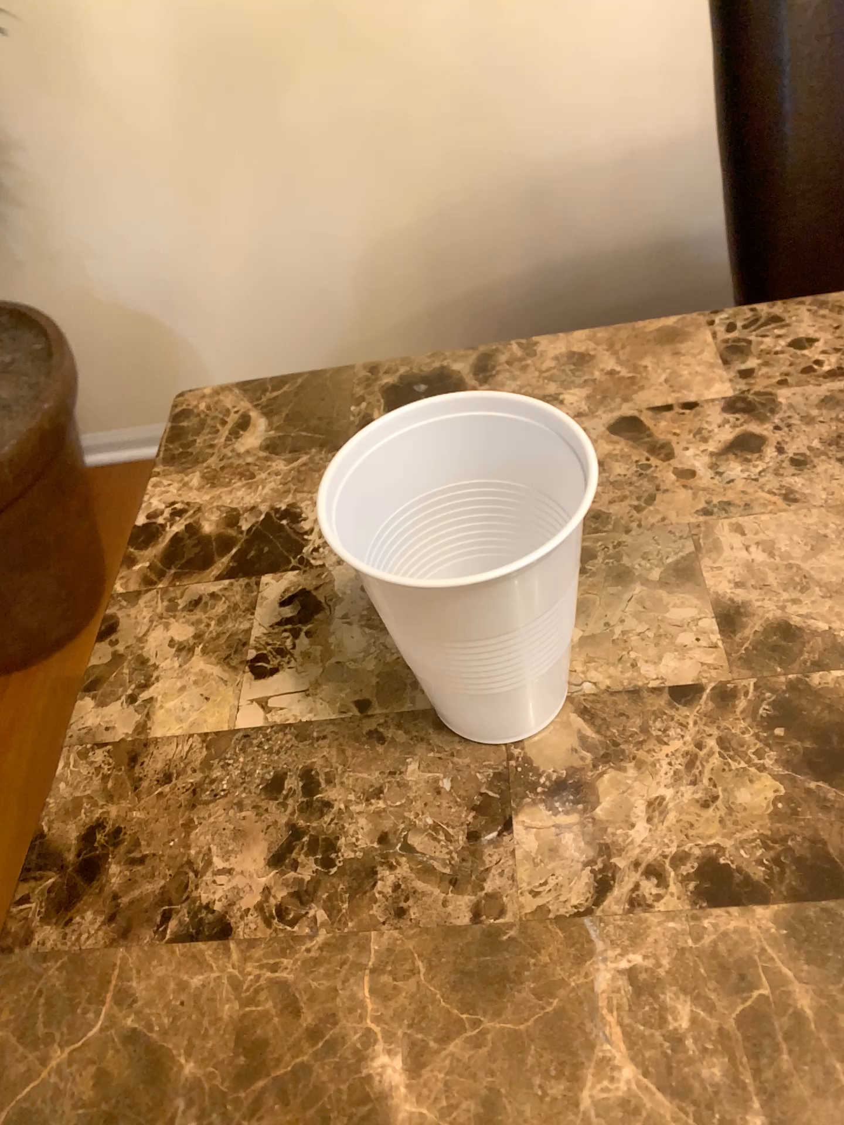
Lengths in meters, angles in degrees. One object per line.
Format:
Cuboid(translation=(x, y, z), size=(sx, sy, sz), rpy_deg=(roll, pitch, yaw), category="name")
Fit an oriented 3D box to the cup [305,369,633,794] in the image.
Cuboid(translation=(0.014, 0.007, 0.267), size=(0.077, 0.083, 0.082), rpy_deg=(-7, 46, 7), category="cup")
